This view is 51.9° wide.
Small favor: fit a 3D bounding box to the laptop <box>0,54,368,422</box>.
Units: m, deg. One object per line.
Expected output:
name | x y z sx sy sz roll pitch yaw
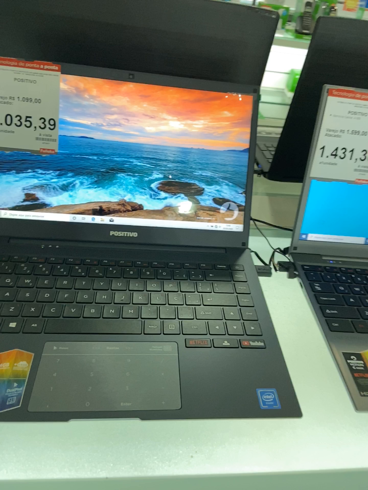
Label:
laptop | -0.064 -0.041 0.393 0.334 0.175 0.356 3 38 -8
